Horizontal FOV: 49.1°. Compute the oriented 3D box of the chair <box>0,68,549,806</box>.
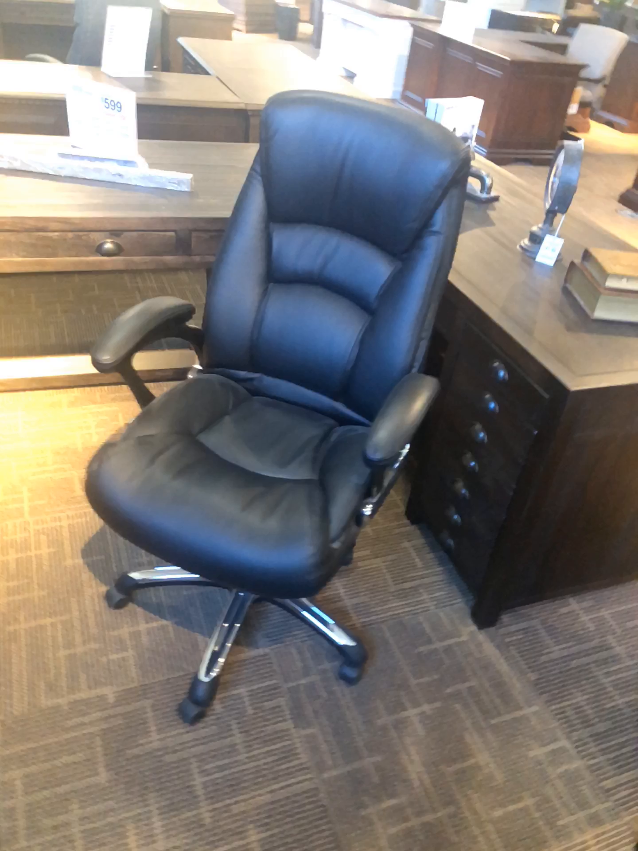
[{"bbox_3d":[-0.103,-0.015,1.434,0.701,1.119,0.772,19,36,16],"label":"chair"}]
